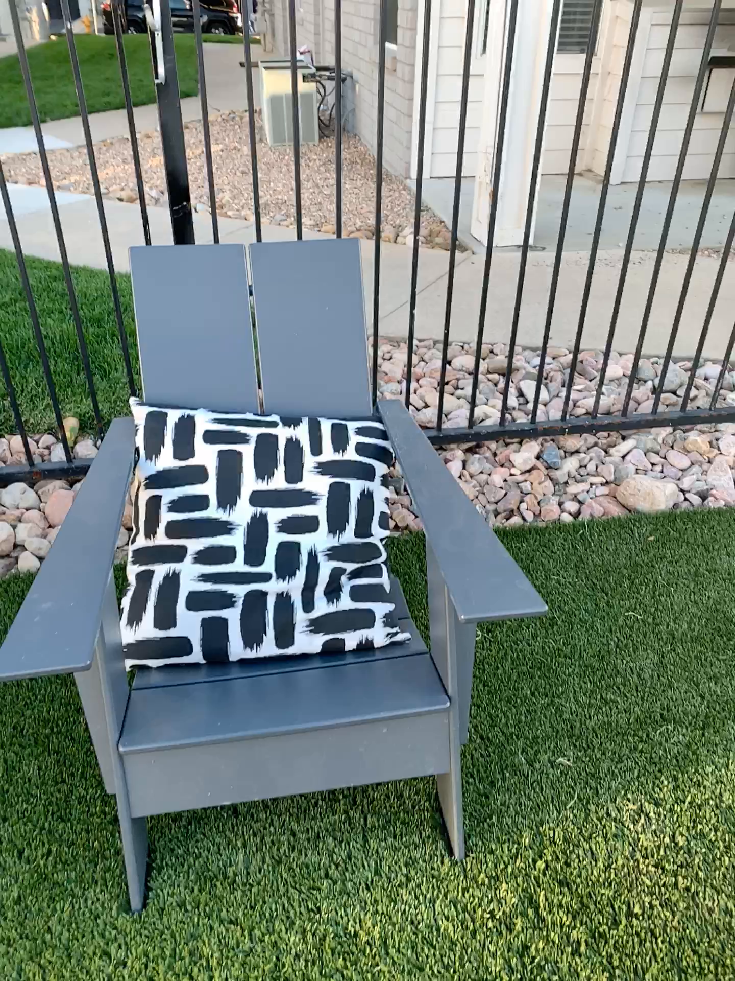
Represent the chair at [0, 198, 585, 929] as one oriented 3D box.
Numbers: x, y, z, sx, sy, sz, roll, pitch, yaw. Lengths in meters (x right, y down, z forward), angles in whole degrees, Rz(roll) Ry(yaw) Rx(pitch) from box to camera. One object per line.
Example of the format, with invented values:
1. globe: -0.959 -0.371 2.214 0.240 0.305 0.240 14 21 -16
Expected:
1. chair: -0.163 0.037 1.272 0.620 0.806 0.885 -4 34 -7
